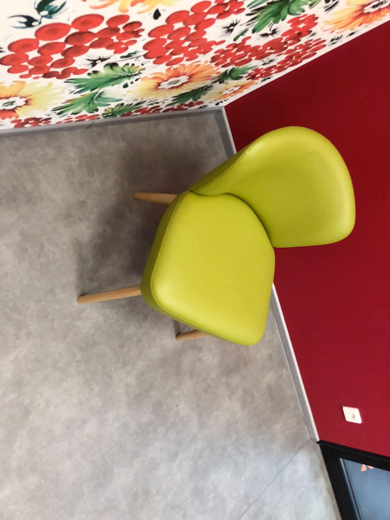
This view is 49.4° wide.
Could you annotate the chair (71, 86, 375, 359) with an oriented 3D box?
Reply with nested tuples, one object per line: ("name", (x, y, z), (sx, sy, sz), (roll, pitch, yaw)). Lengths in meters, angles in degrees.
("chair", (0.081, -0.046, 1.438), (0.522, 0.776, 0.571), (30, 65, -35))
